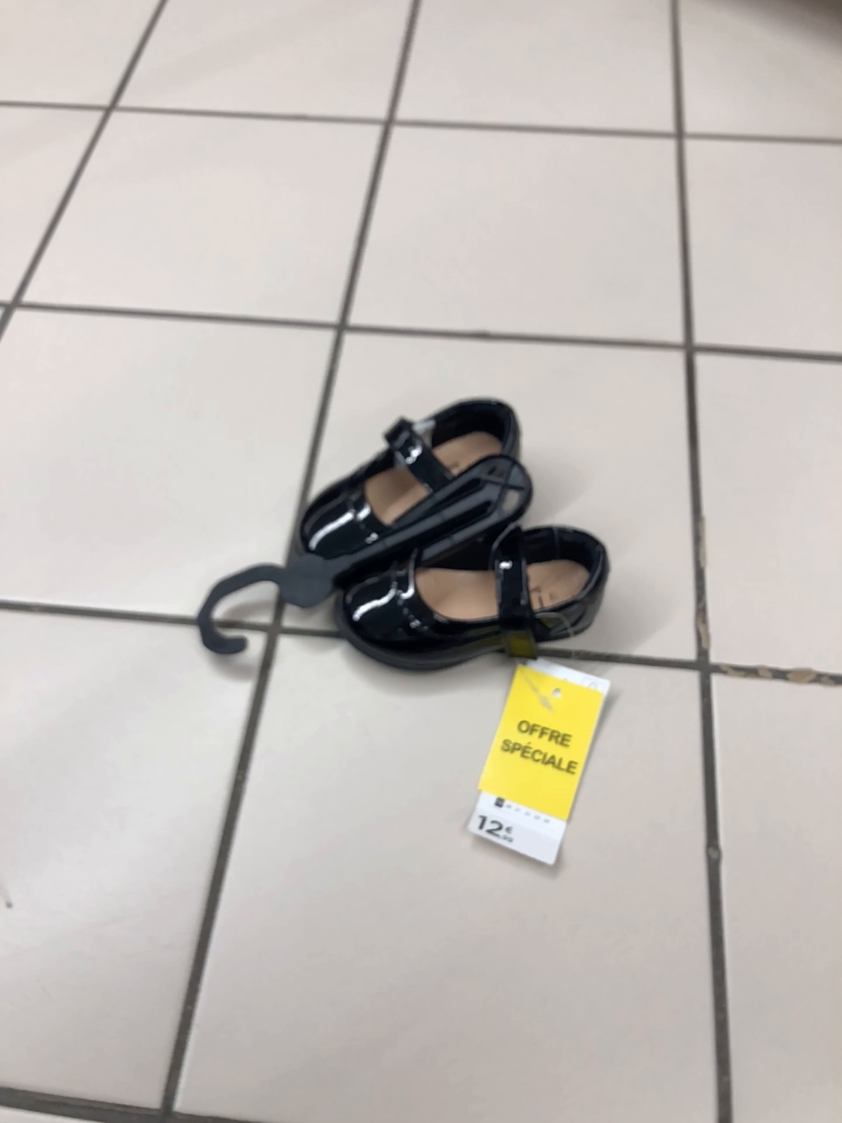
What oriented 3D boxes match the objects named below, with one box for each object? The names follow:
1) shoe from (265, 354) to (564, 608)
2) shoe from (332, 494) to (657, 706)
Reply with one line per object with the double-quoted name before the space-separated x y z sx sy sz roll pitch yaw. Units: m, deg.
"shoe" -0.002 -0.041 0.457 0.127 0.048 0.060 -28 61 -15
"shoe" 0.030 0.017 0.423 0.130 0.048 0.060 -9 58 -4
